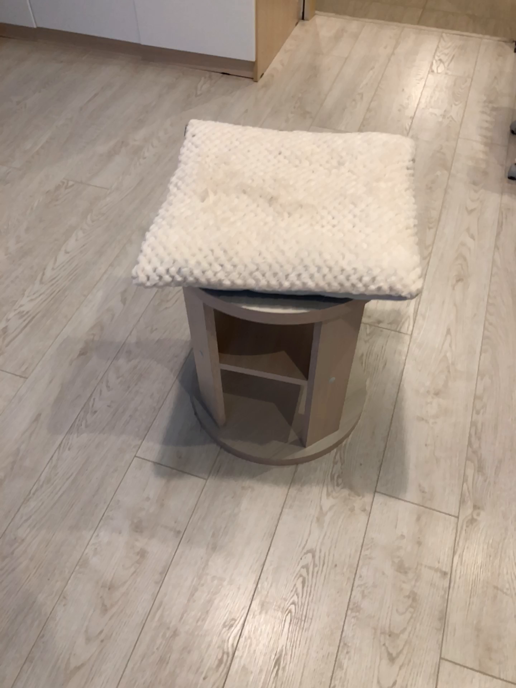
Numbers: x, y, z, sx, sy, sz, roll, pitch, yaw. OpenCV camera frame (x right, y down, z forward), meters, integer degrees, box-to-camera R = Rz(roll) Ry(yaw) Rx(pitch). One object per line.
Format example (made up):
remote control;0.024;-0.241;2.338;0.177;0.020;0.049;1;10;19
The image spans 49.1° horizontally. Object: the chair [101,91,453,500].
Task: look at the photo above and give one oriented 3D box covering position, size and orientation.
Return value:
chair;0.048;-0.067;1.025;0.400;0.546;0.382;17;53;13
